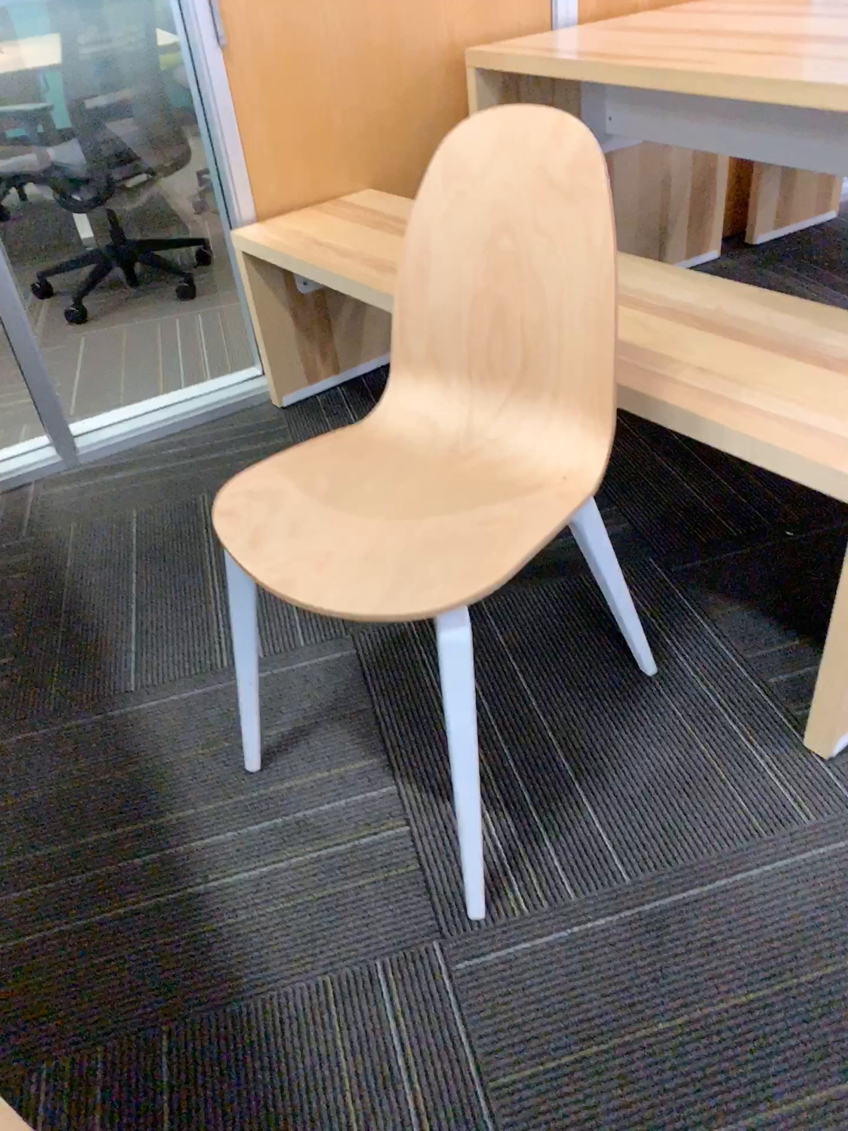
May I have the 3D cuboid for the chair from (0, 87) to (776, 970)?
[{"bbox_3d":[0.020,-0.098,1.079,0.522,0.766,0.652,18,44,31],"label":"chair"}]
